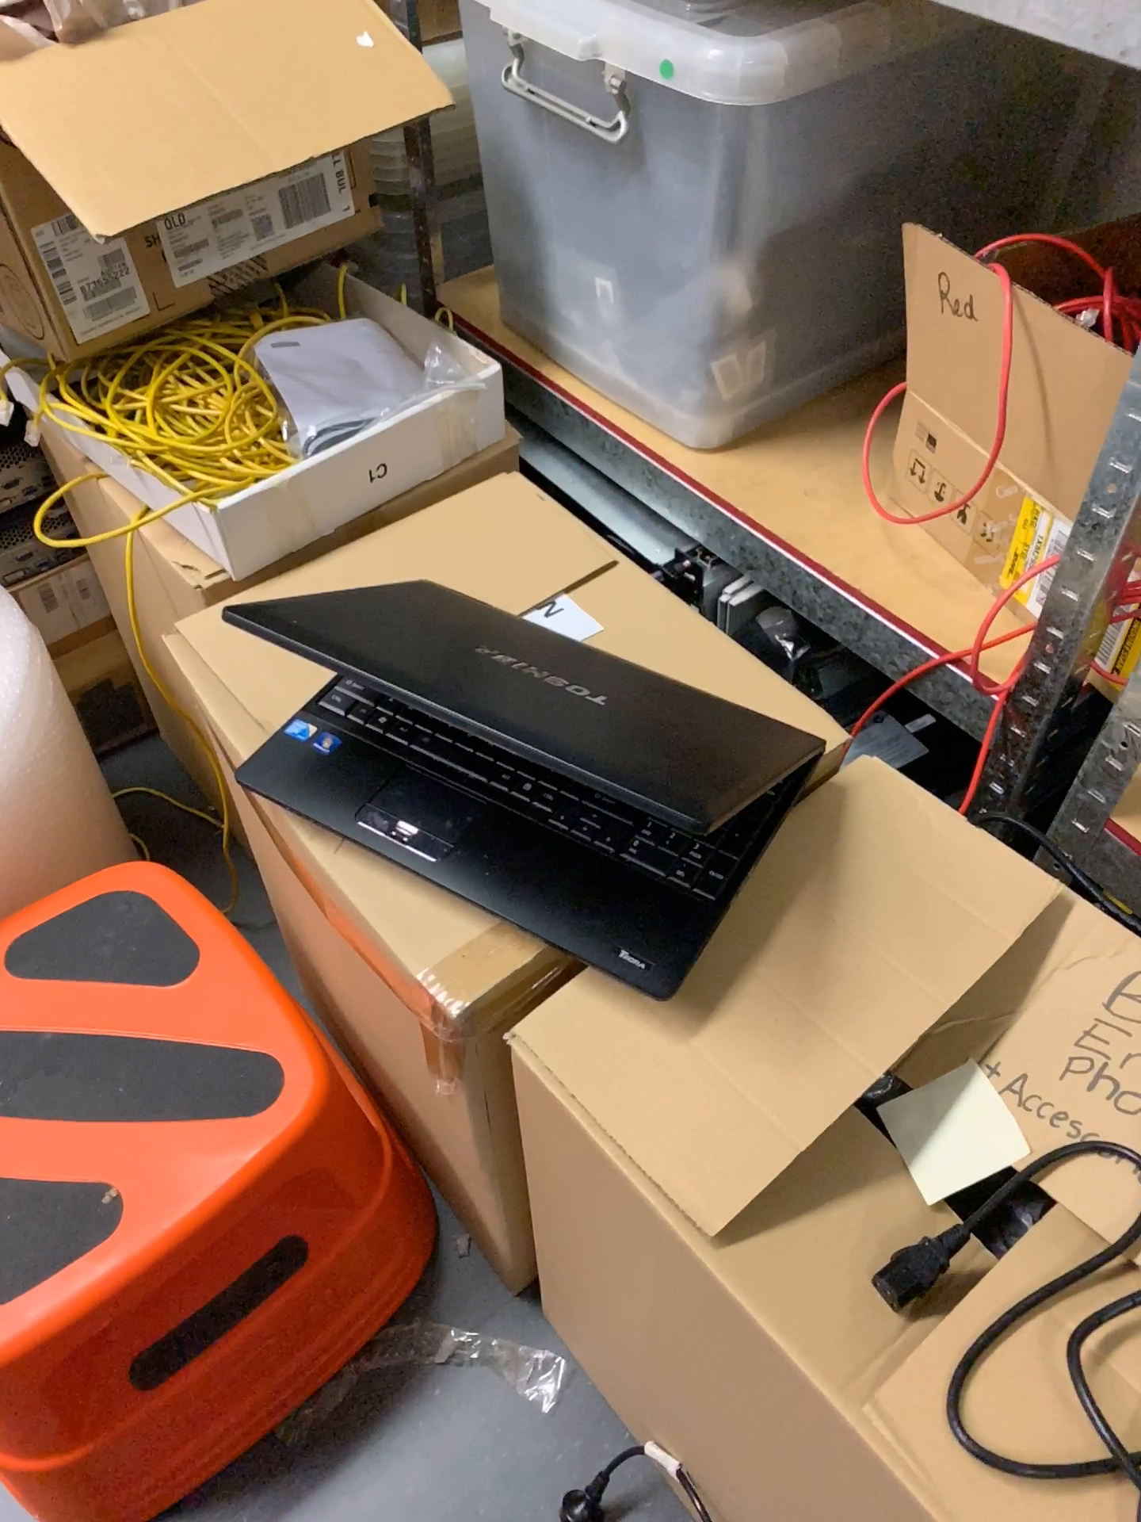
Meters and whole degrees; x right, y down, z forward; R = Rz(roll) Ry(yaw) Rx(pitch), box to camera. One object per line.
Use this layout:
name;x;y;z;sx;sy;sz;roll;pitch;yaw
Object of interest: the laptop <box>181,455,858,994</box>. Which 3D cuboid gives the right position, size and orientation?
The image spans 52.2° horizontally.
laptop;-0.032;-0.040;0.800;0.355;0.135;0.231;24;55;19
